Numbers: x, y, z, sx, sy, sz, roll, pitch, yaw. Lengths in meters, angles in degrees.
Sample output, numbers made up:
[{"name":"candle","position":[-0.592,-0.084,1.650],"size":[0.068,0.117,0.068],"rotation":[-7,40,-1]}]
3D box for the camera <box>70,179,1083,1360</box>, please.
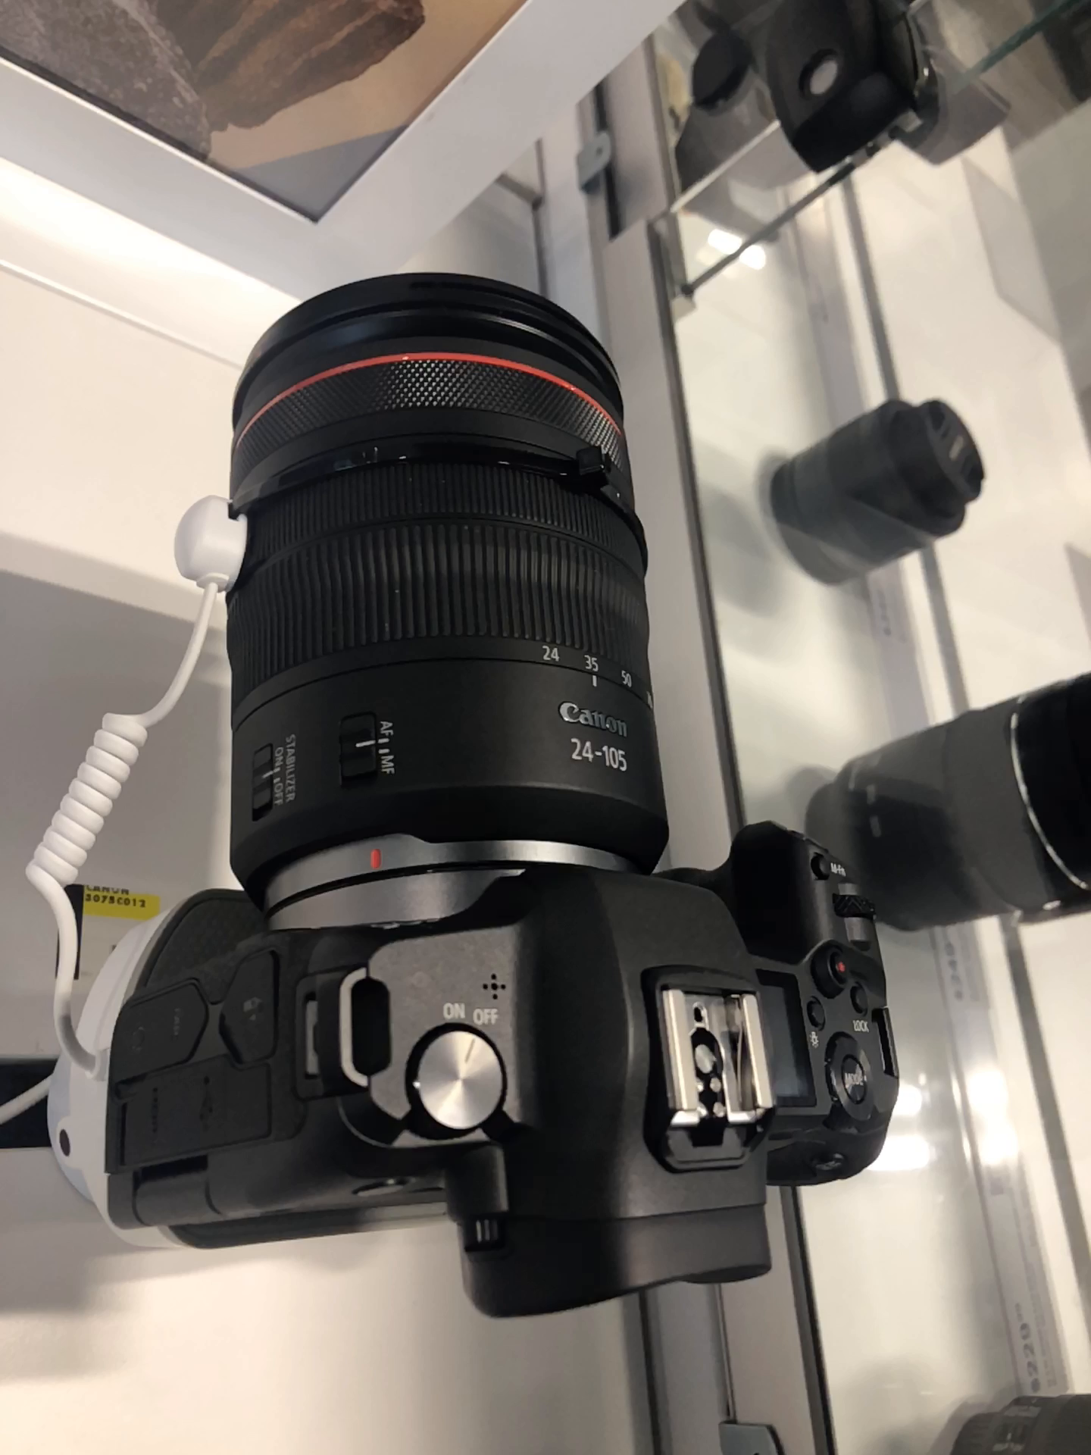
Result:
[{"name":"camera","position":[0.005,0.017,0.215],"size":[0.139,0.086,0.145],"rotation":[12,63,-41]}]
